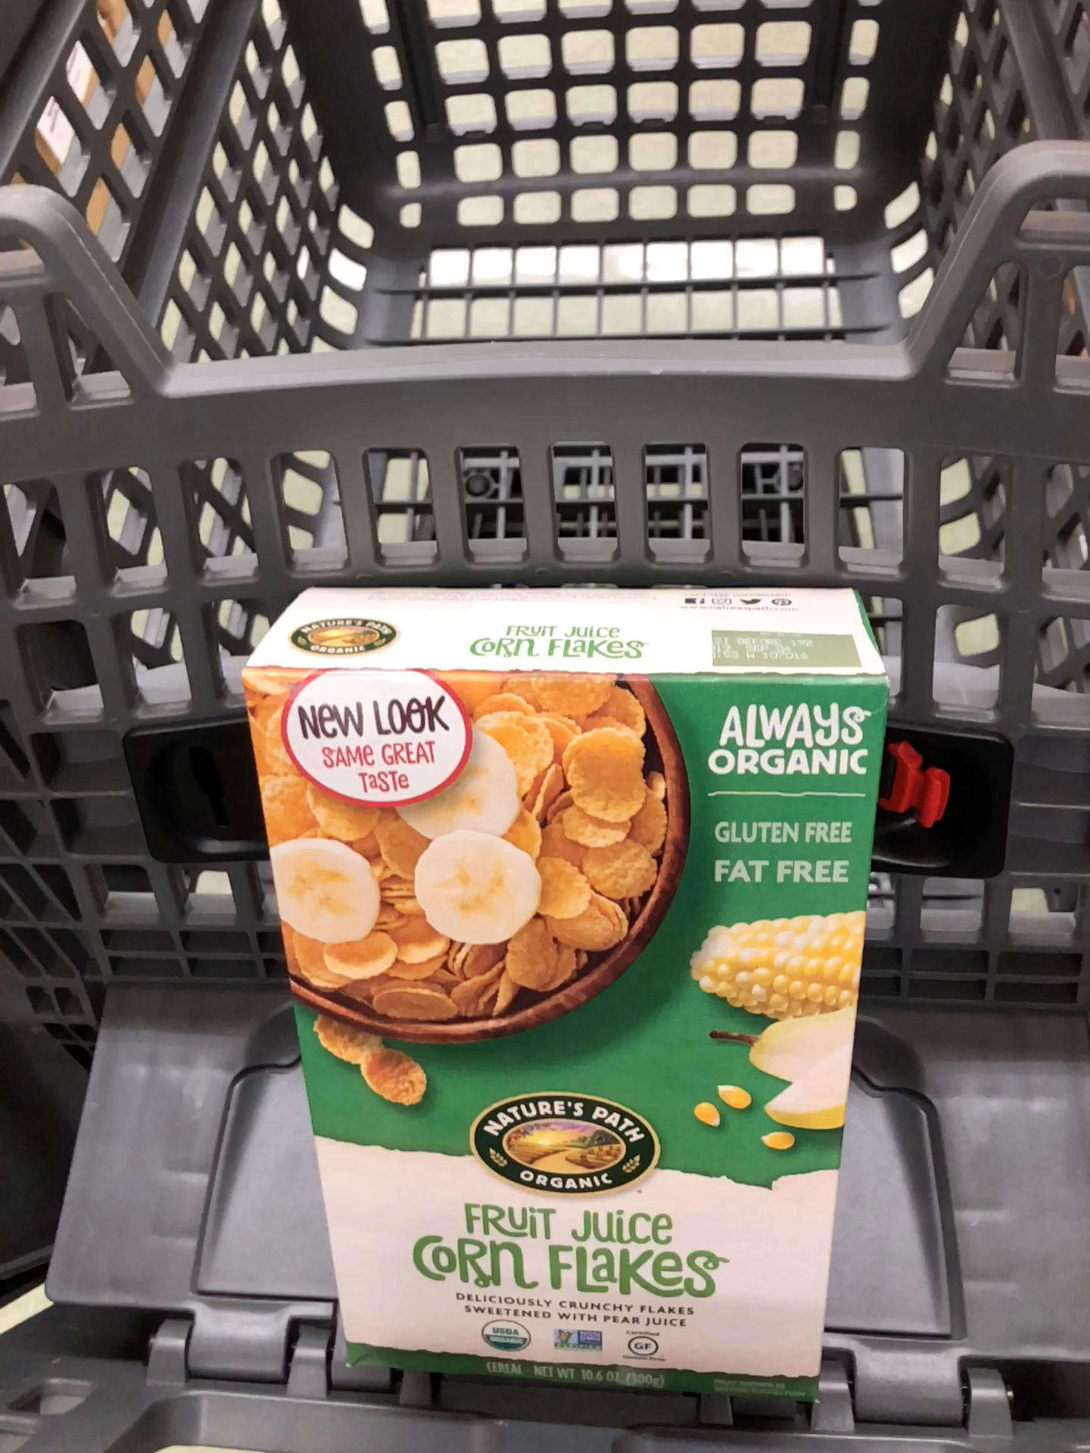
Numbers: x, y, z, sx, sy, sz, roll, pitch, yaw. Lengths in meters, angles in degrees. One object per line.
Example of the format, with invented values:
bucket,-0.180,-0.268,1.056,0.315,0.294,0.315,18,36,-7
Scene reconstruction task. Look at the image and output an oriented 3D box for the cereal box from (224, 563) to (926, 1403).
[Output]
cereal box,0.011,0.076,0.339,0.150,0.230,0.070,1,26,6
